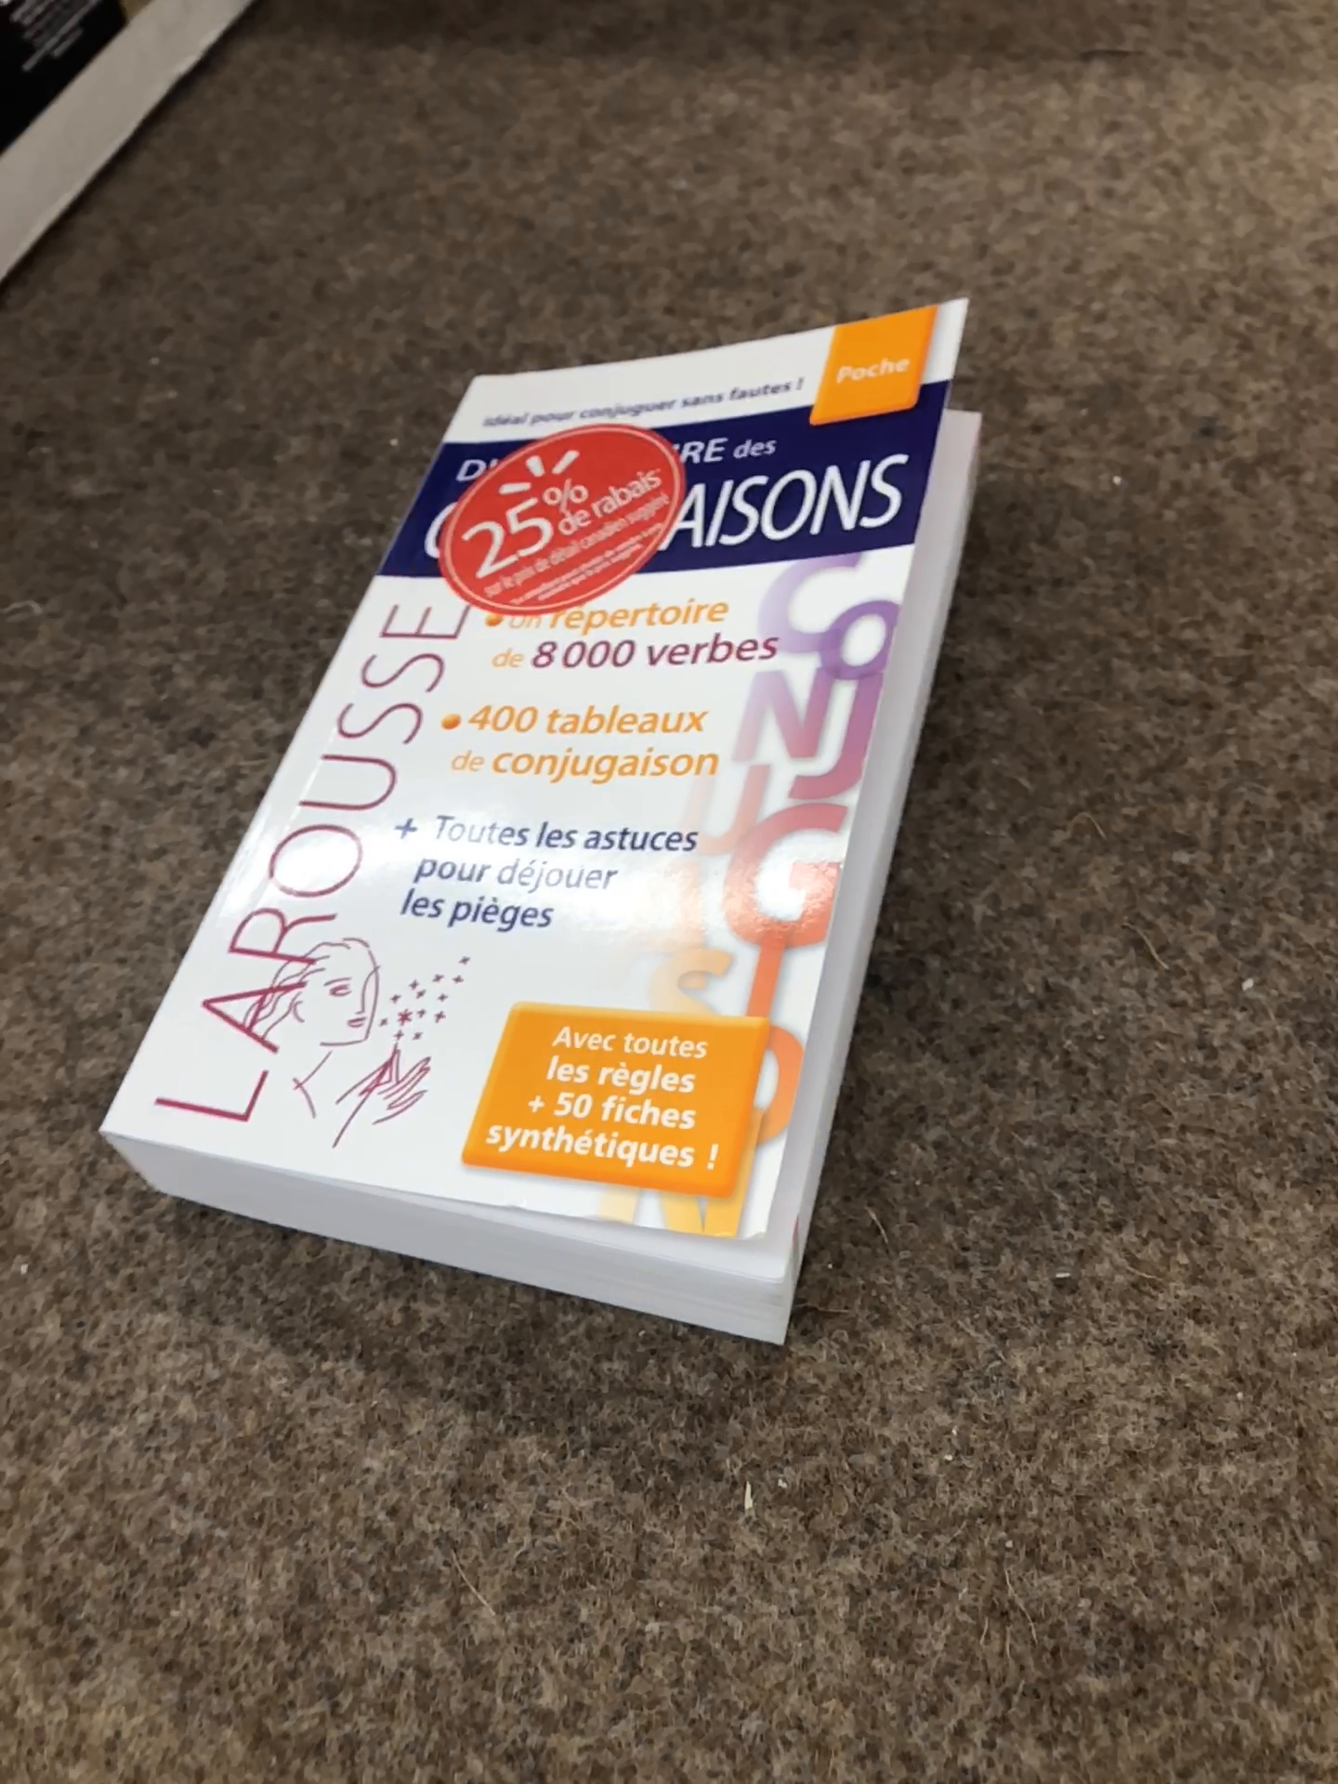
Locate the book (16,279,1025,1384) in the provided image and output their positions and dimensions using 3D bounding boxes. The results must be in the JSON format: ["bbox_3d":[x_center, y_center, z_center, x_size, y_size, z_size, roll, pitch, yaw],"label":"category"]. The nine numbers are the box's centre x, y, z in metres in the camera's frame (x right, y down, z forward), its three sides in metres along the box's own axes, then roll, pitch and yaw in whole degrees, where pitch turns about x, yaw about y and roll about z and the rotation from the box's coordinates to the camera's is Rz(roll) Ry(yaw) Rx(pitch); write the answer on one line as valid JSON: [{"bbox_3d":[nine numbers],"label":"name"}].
[{"bbox_3d":[-0.010,-0.027,0.284,0.124,0.059,0.200,8,59,17],"label":"book"}]
